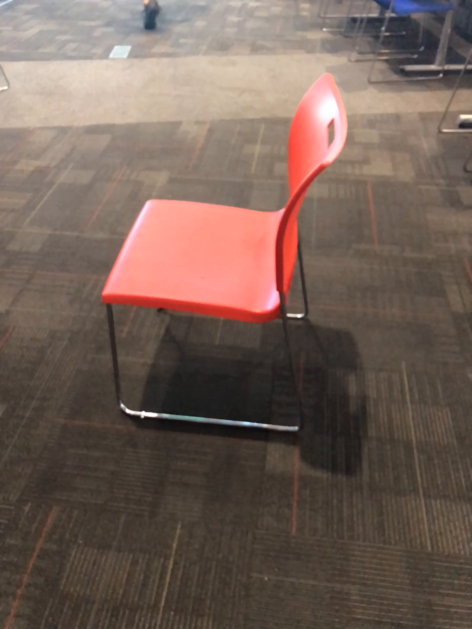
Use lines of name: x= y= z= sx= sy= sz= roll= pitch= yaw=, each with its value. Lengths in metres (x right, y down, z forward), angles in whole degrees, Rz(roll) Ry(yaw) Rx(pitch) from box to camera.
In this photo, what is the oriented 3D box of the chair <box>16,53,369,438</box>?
chair: x=-0.045 y=-0.172 z=1.359 sx=0.610 sy=0.766 sz=0.563 roll=4 pitch=42 yaw=6
